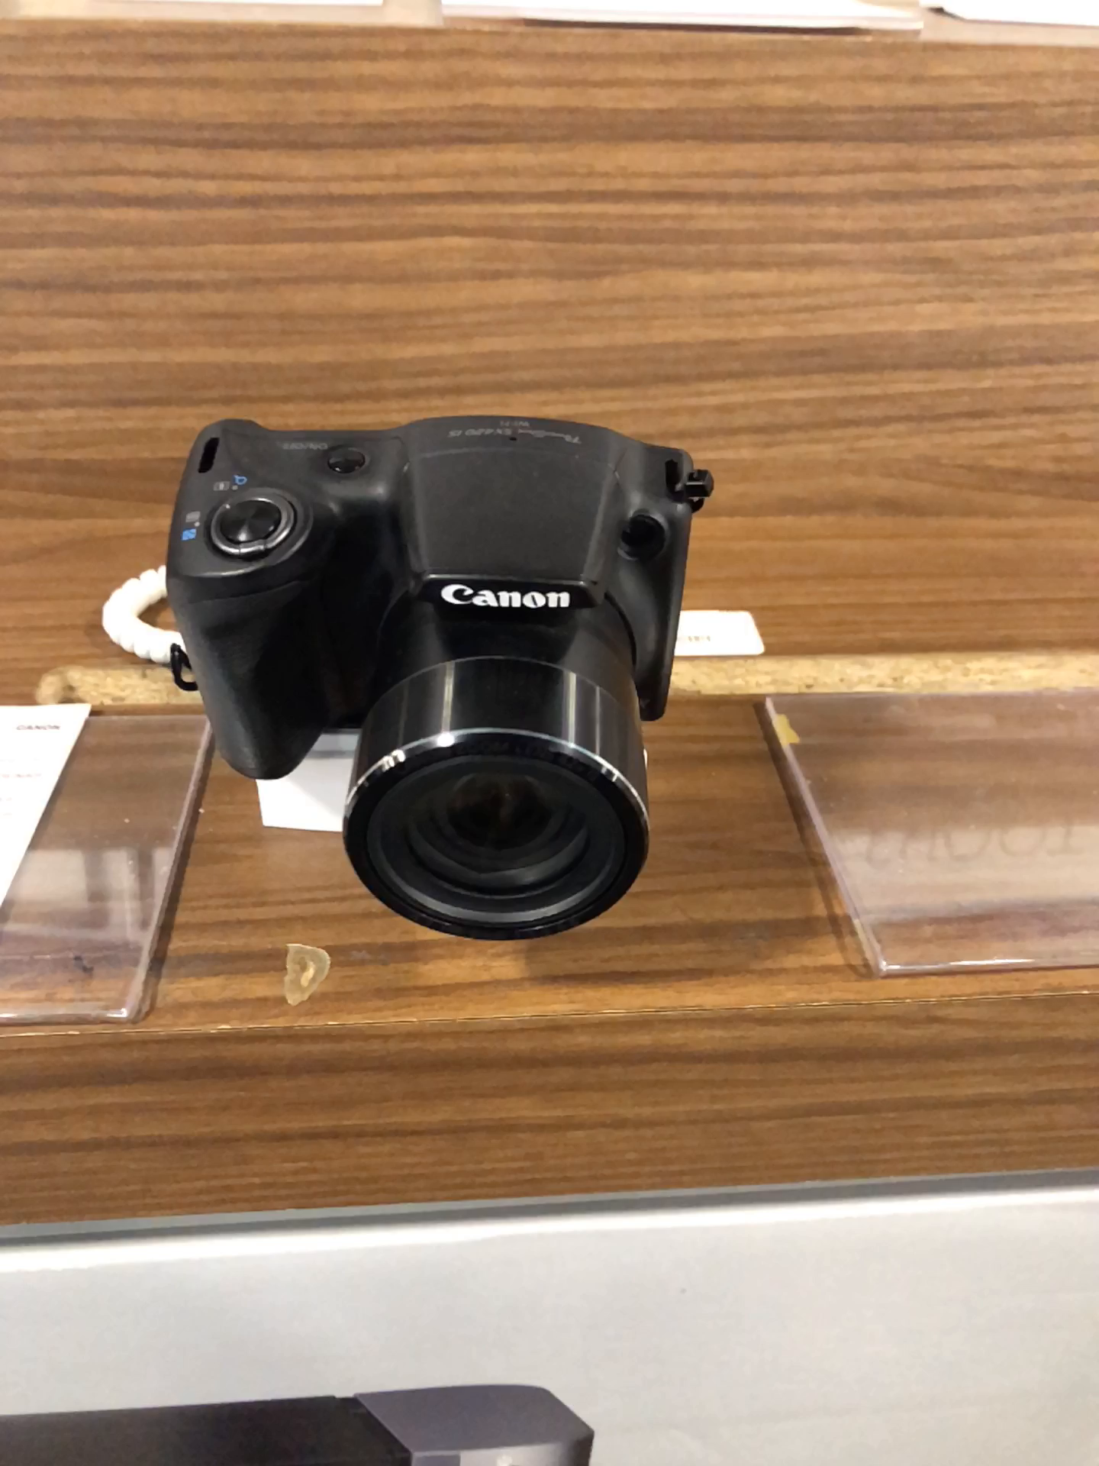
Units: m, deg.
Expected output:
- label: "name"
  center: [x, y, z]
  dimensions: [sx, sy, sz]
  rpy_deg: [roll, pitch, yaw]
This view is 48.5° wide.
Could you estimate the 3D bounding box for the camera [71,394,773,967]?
- label: "camera"
  center: [-0.021, -0.014, 0.231]
  dimensions: [0.100, 0.070, 0.091]
  rpy_deg: [0, 34, -4]
